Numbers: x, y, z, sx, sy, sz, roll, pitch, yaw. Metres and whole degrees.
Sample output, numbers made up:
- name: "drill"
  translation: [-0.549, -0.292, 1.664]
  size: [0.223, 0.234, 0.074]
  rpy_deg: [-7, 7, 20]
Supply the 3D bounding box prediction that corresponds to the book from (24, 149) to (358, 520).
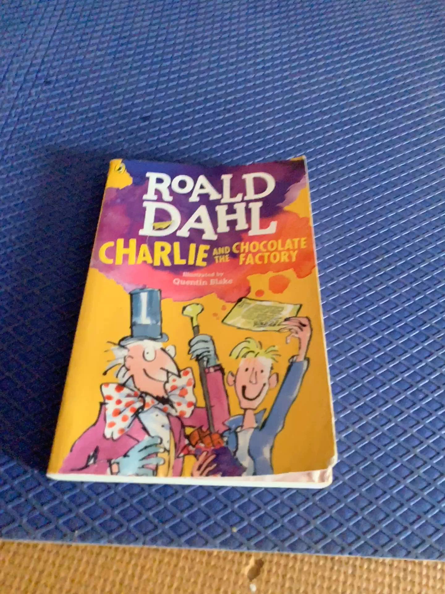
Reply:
- name: "book"
  translation: [-0.010, 0.004, 0.255]
  size: [0.140, 0.020, 0.211]
  rpy_deg: [4, 59, -4]
